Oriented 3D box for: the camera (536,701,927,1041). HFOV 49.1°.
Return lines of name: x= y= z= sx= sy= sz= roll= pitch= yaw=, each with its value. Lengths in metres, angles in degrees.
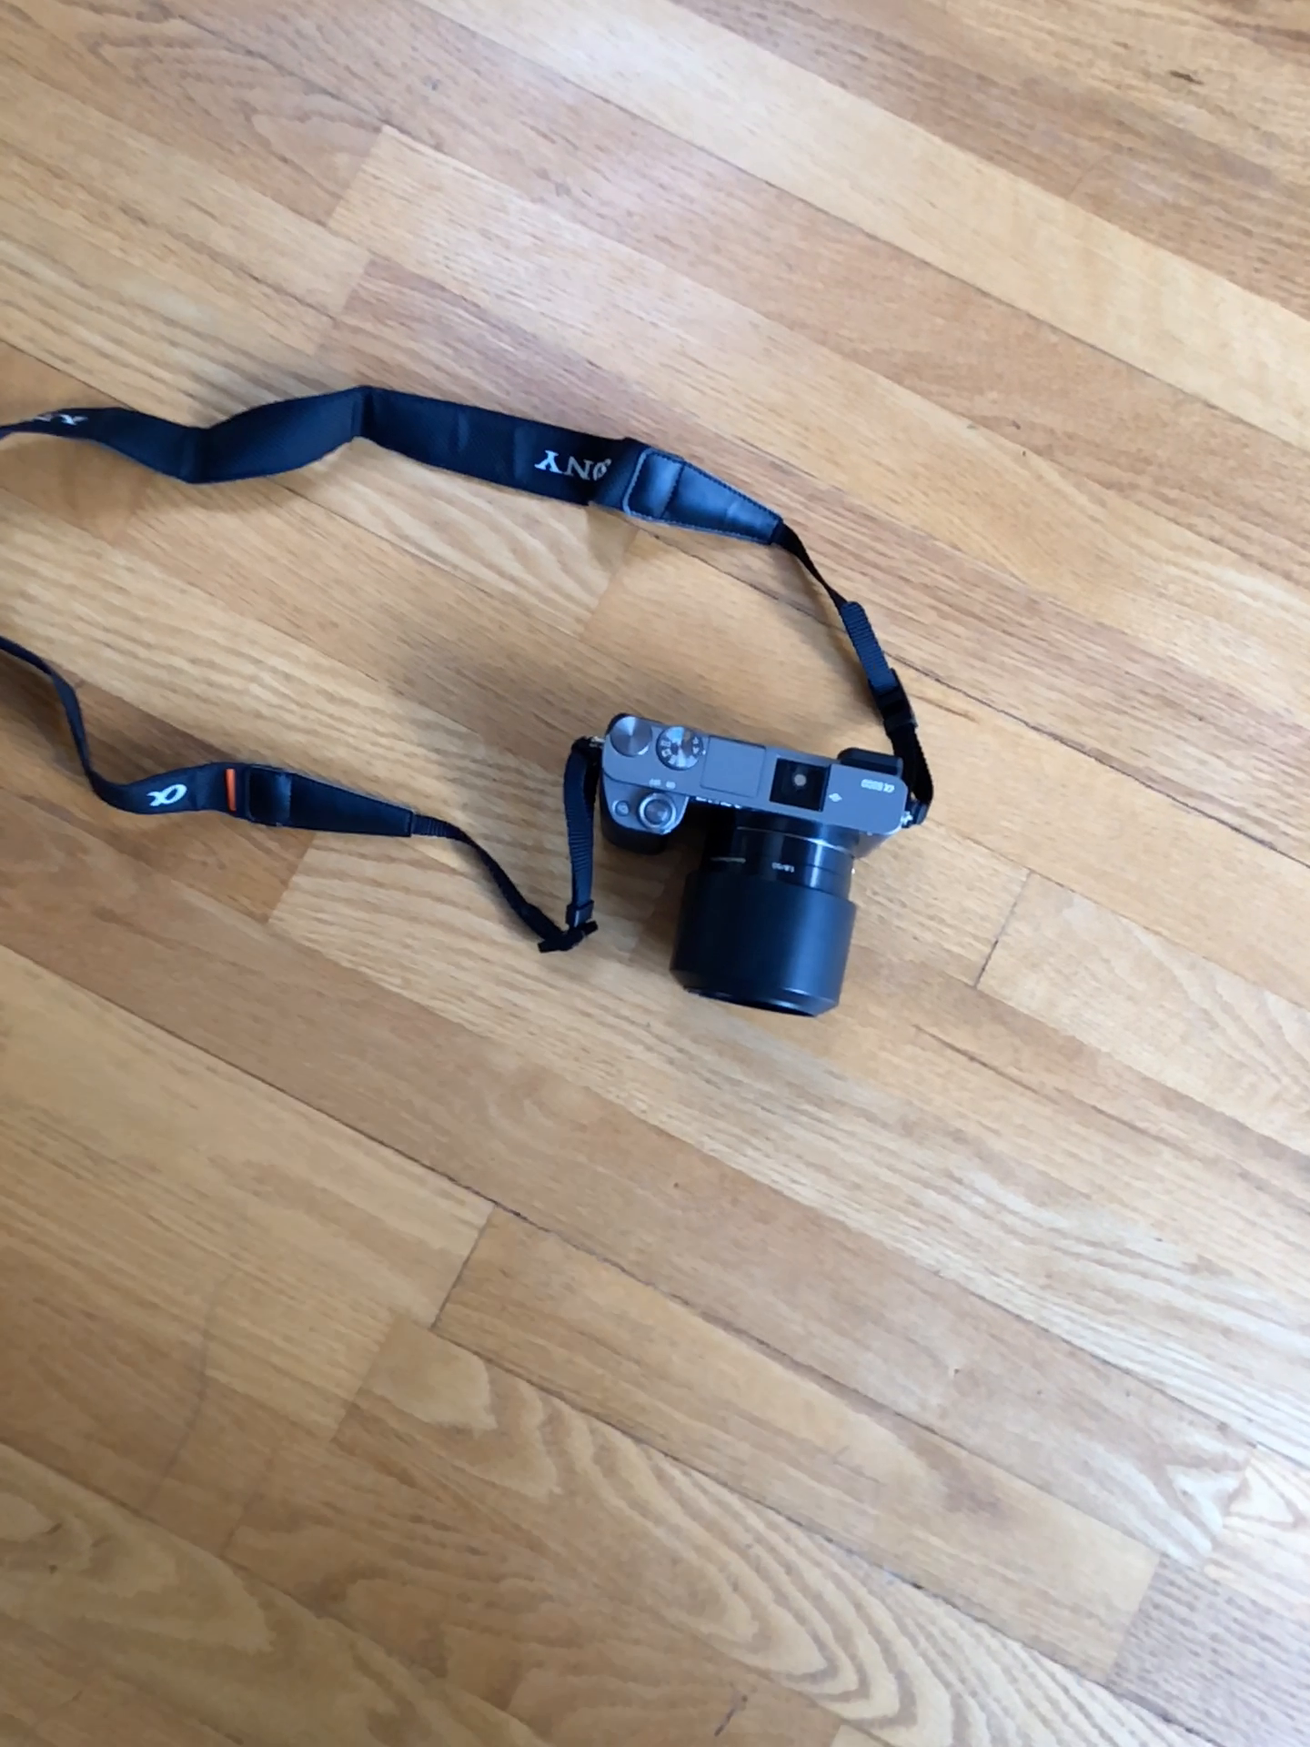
camera: x=0.030 y=0.003 z=0.594 sx=0.136 sy=0.079 sz=0.106 roll=10 pitch=80 yaw=0
